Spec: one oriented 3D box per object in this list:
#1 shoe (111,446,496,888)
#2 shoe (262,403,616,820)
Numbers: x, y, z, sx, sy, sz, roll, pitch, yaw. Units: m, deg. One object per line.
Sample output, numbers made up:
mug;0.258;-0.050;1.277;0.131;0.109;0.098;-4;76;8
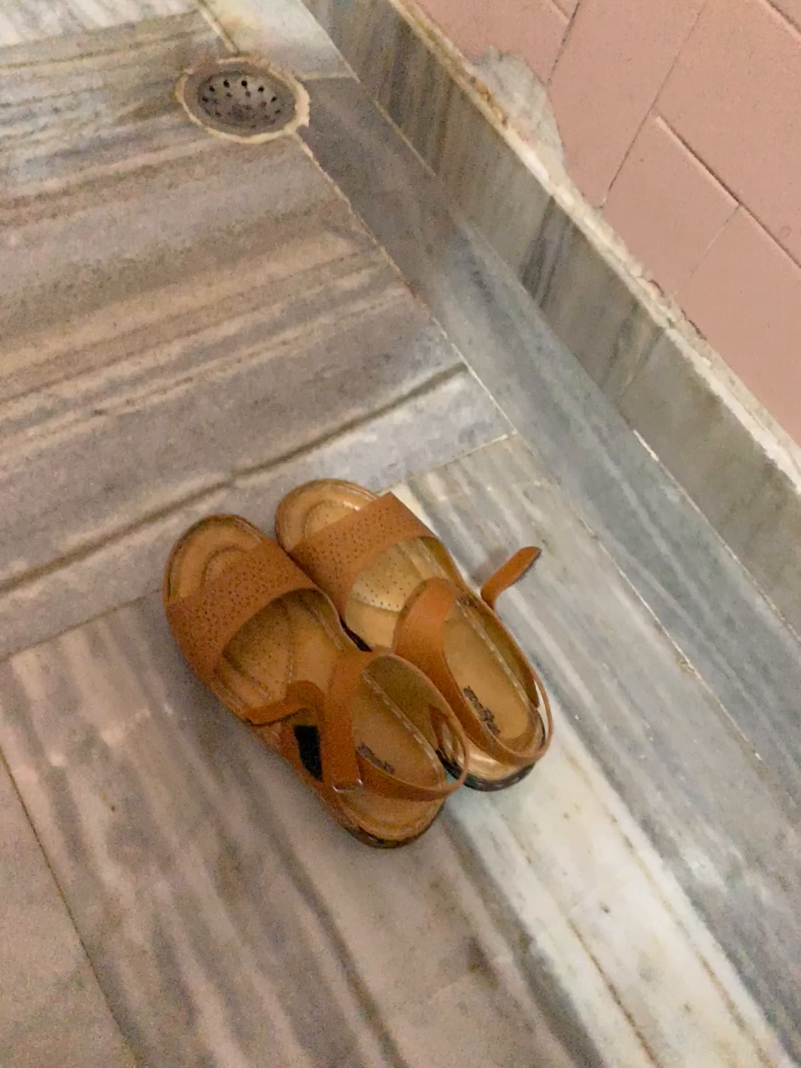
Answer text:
shoe;-0.069;0.084;0.522;0.090;0.100;0.256;-33;75;-24
shoe;0.013;0.050;0.551;0.090;0.100;0.250;-29;73;-23
